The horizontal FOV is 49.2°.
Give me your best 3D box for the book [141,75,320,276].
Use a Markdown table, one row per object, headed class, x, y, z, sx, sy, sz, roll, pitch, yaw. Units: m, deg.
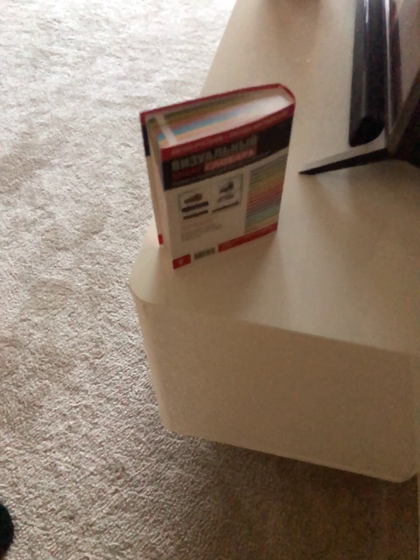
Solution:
| class | x | y | z | sx | sy | sz | roll | pitch | yaw |
| --- | --- | --- | --- | --- | --- | --- | --- | --- | --- |
| book | 0.017 | -0.103 | 0.487 | 0.150 | 0.179 | 0.060 | -19 | 58 | -14 |
